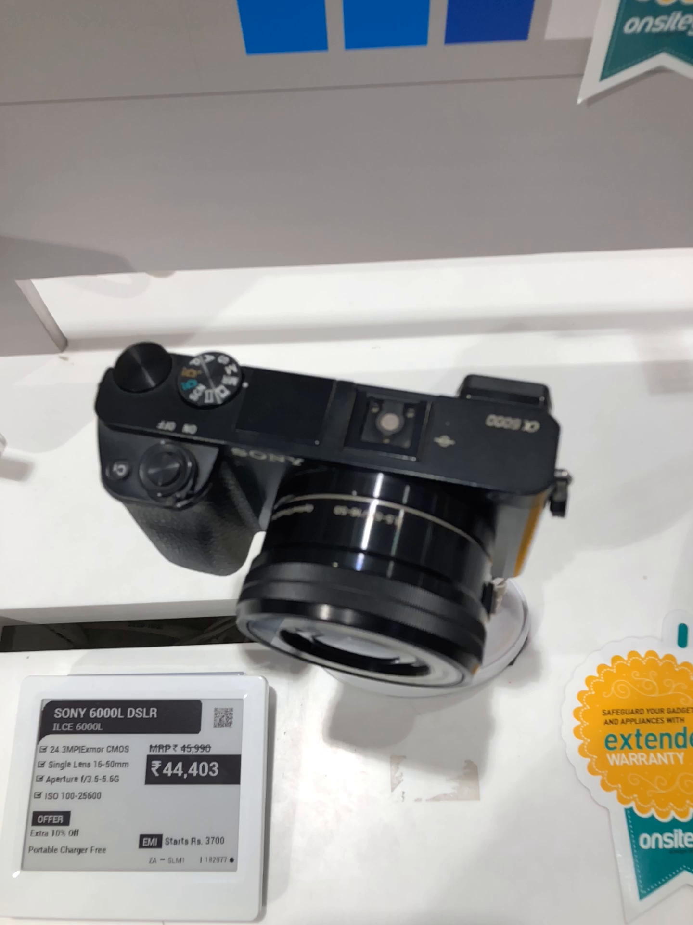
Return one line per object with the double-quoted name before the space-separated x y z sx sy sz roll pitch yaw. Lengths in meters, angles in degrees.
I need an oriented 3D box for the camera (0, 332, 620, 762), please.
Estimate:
"camera" -0.005 0.022 0.174 0.110 0.070 0.060 8 64 7
